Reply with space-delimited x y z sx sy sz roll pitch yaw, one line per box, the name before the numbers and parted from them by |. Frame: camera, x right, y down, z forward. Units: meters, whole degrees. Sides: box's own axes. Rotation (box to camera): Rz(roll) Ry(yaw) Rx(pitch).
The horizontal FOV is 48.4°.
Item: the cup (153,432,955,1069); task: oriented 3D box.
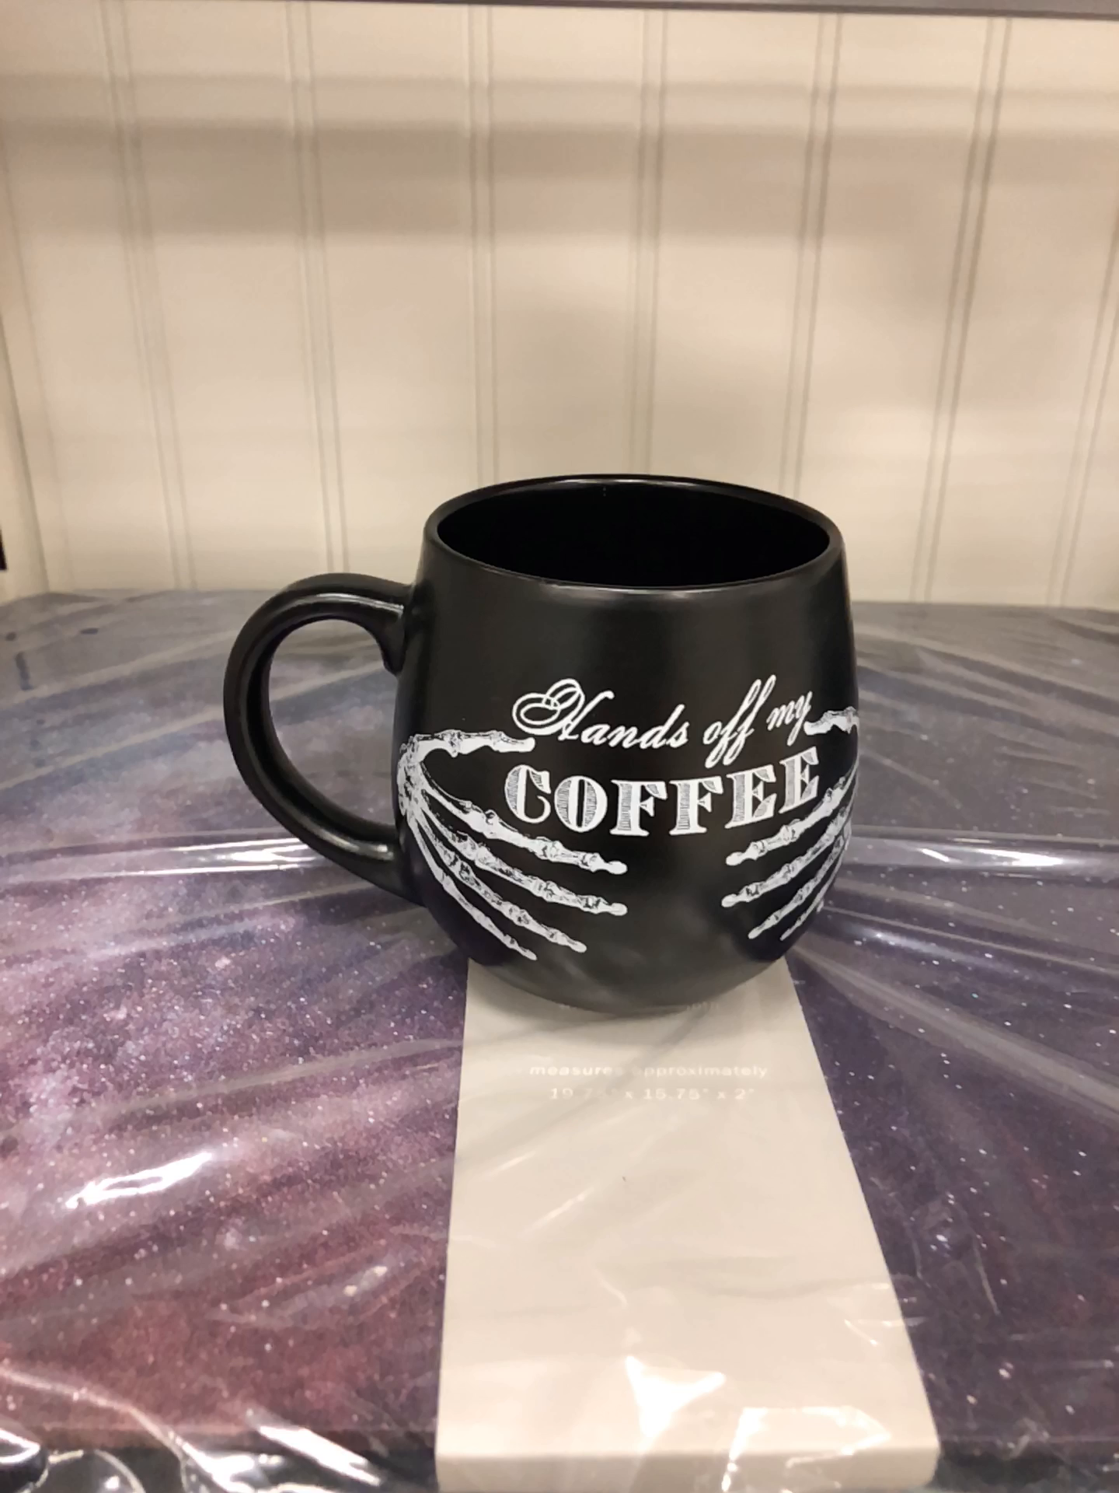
cup | 0.003 -0.007 0.282 0.140 0.099 0.101 4 27 7
